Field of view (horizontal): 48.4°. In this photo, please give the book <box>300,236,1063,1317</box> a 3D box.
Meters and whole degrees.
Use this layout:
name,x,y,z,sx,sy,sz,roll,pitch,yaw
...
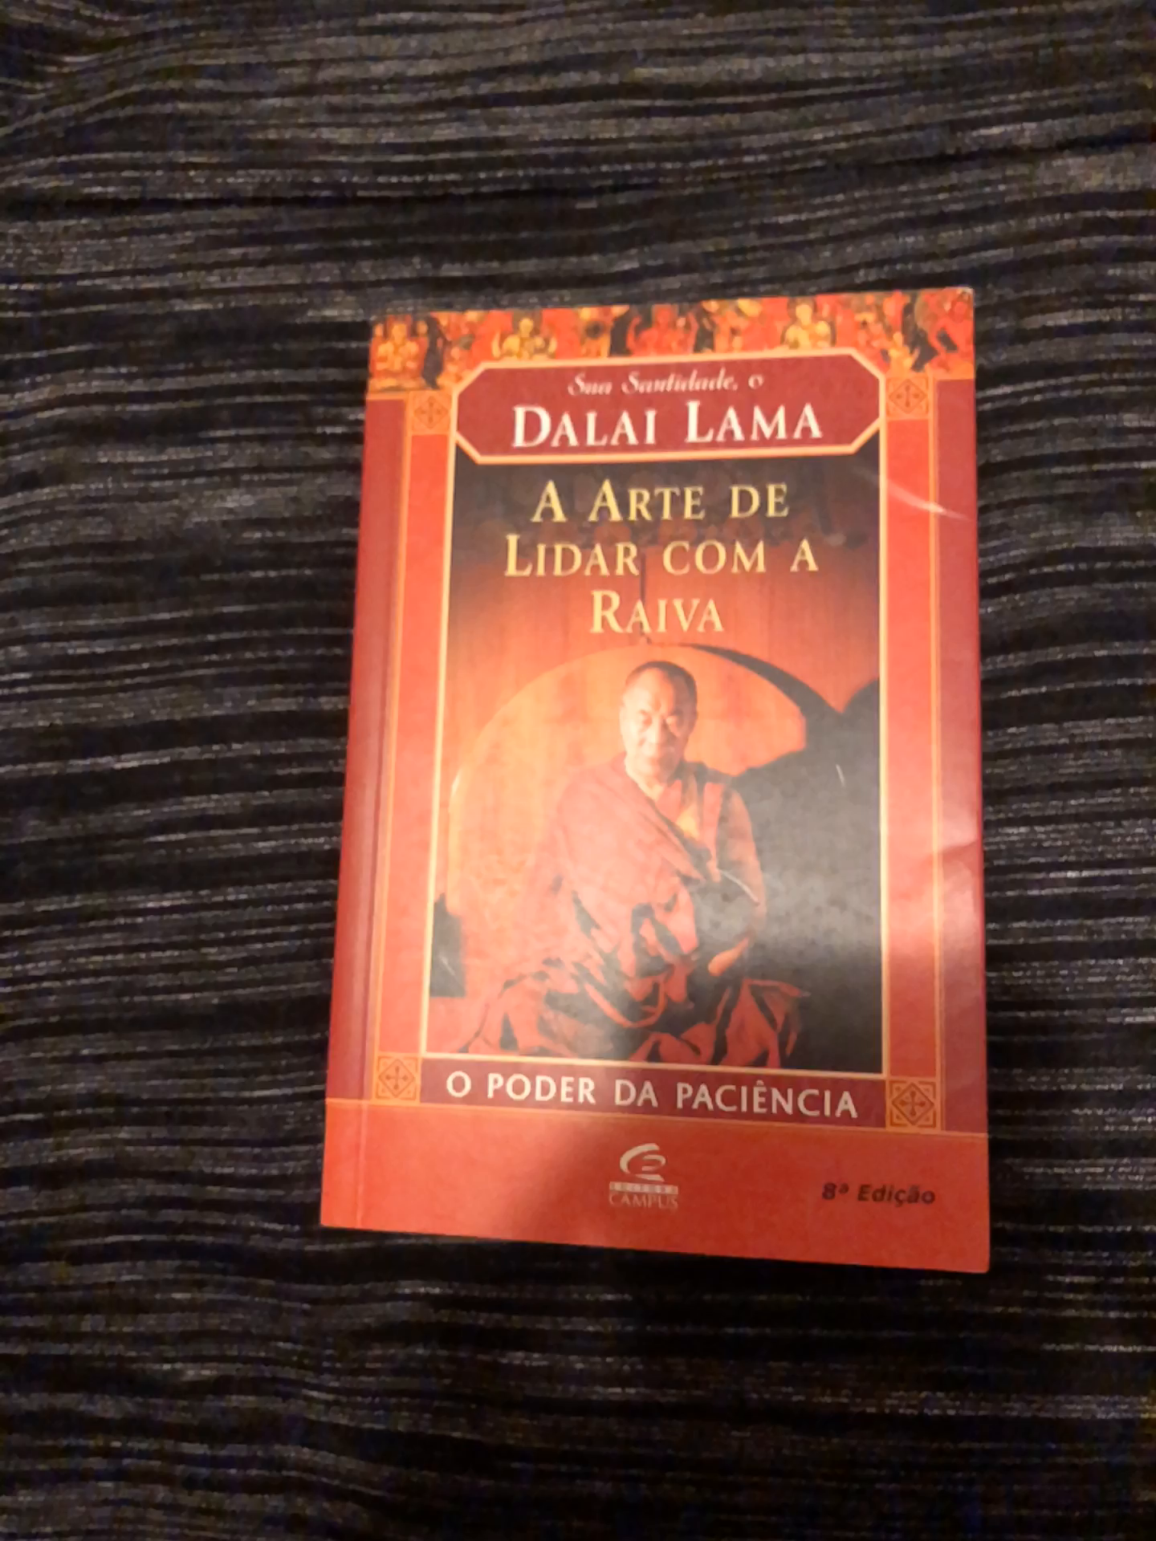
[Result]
name,x,y,z,sx,sy,sz,roll,pitch,yaw
book,0.023,-0.004,0.285,0.150,0.030,0.220,0,81,9

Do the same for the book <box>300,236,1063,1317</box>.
name,x,y,z,sx,sy,sz,roll,pitch,yaw
book,0.023,-0.004,0.285,0.150,0.030,0.220,0,81,9

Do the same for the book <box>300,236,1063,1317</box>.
name,x,y,z,sx,sy,sz,roll,pitch,yaw
book,0.023,-0.004,0.285,0.150,0.030,0.220,0,81,9
